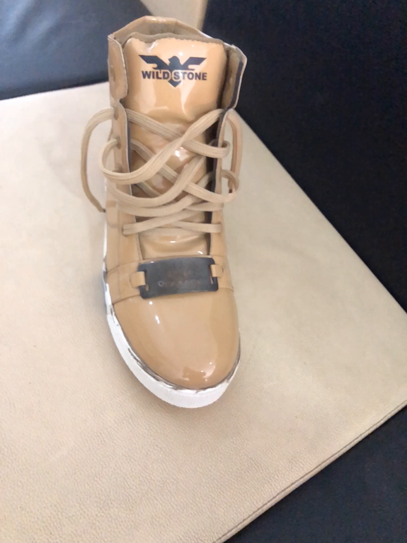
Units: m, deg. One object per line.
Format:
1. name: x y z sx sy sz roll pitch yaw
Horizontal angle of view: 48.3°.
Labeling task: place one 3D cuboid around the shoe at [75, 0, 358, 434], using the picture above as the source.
1. shoe: -0.024 -0.056 0.324 0.100 0.159 0.281 -6 58 -15
